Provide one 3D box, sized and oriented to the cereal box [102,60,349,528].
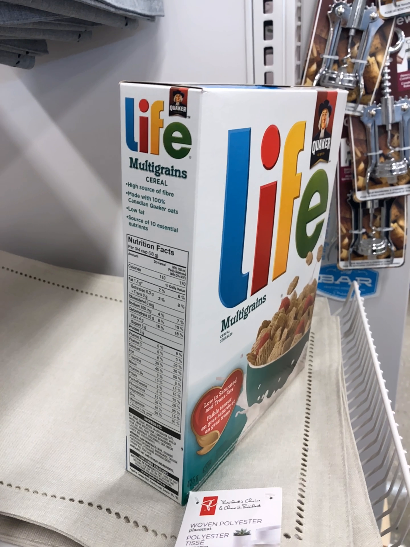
[{"bbox_3d":[0.026,0.000,0.347,0.060,0.279,0.210,15,25,30],"label":"cereal box"}]
